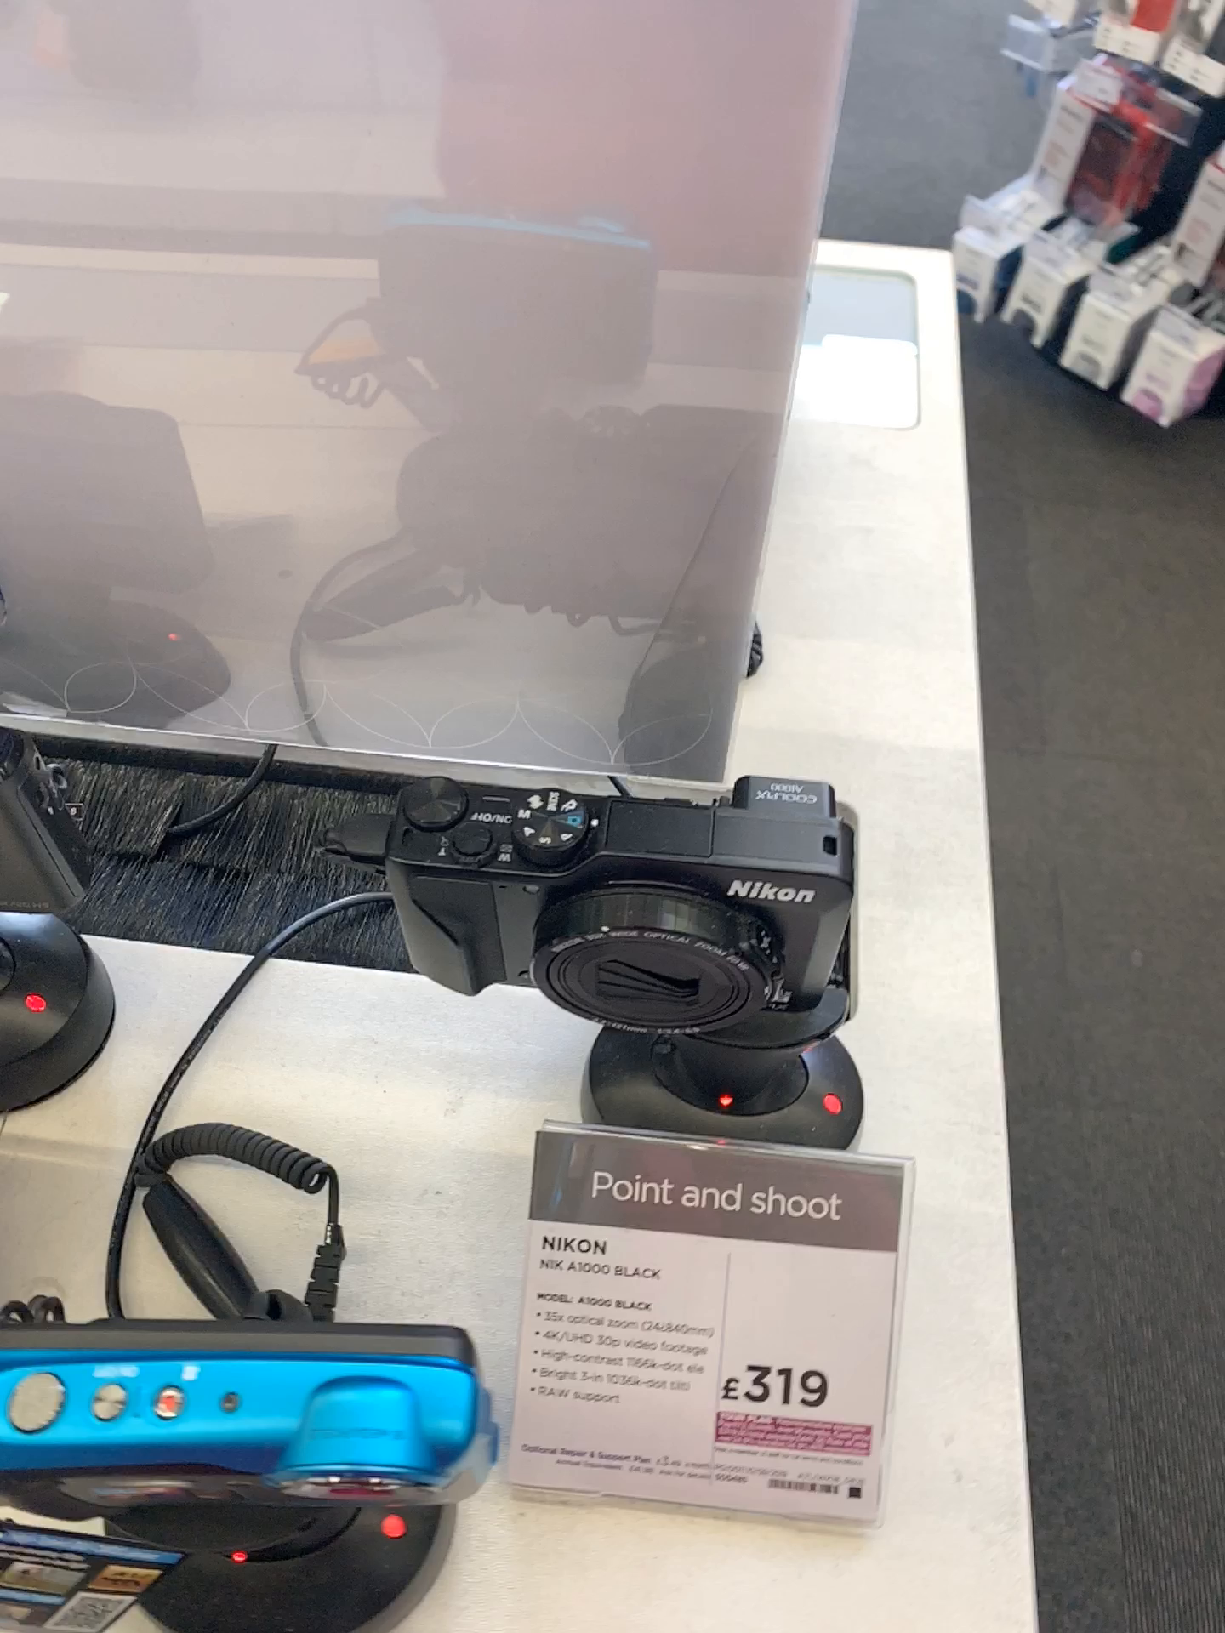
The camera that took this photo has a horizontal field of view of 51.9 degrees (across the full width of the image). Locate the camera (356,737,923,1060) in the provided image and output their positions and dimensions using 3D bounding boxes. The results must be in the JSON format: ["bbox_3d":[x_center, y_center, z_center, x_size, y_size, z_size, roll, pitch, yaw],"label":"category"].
[{"bbox_3d":[0.005,0.023,0.307,0.120,0.079,0.030,5,55,2],"label":"camera"}]
